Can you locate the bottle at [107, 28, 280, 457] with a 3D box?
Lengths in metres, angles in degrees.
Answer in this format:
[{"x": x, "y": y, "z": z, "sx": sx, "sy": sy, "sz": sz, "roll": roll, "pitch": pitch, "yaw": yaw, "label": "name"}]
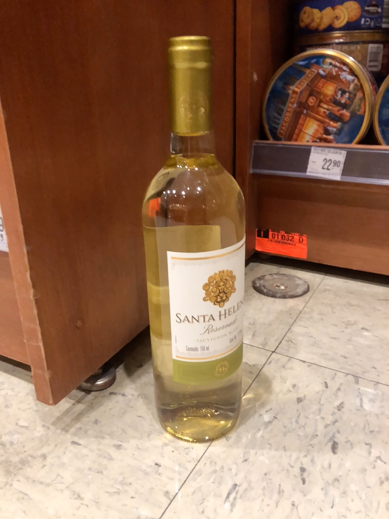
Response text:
[{"x": 0.001, "y": -0.004, "z": 0.309, "sx": 0.080, "sy": 0.278, "sz": 0.070, "roll": -13, "pitch": 25, "yaw": -24, "label": "bottle"}]
